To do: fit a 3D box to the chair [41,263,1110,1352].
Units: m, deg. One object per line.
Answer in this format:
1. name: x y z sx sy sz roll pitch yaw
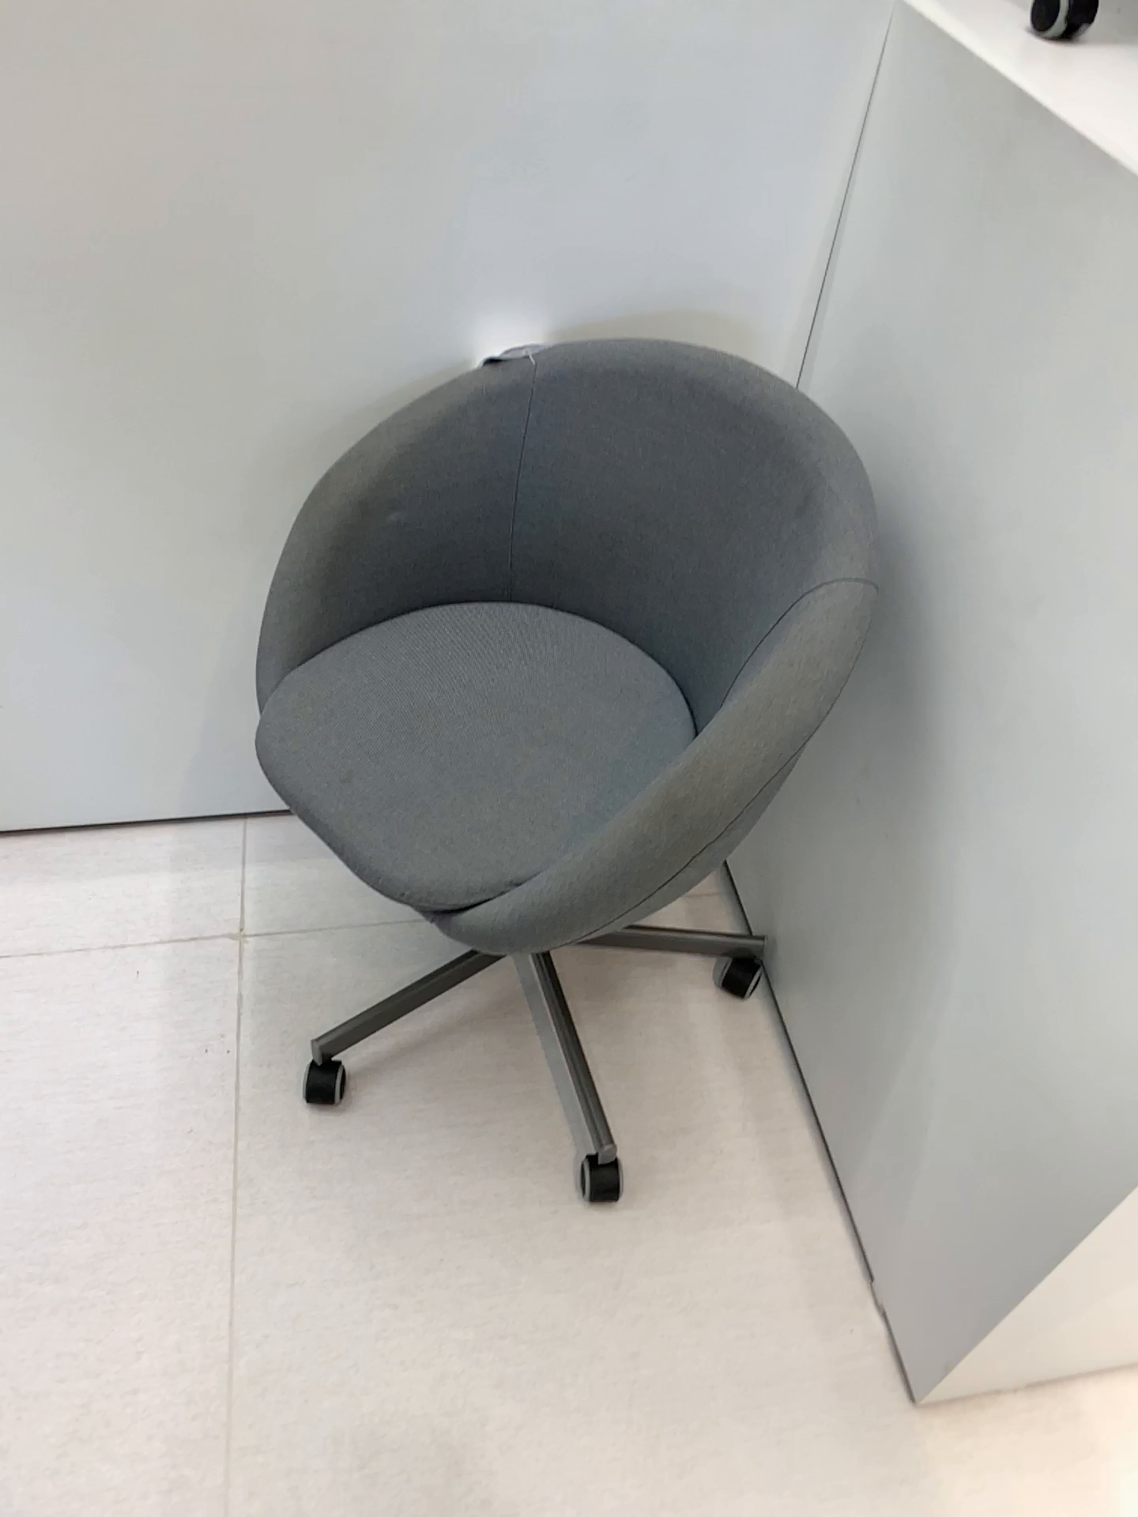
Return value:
1. chair: -0.035 0.027 1.384 0.711 0.827 0.731 -28 55 -30
